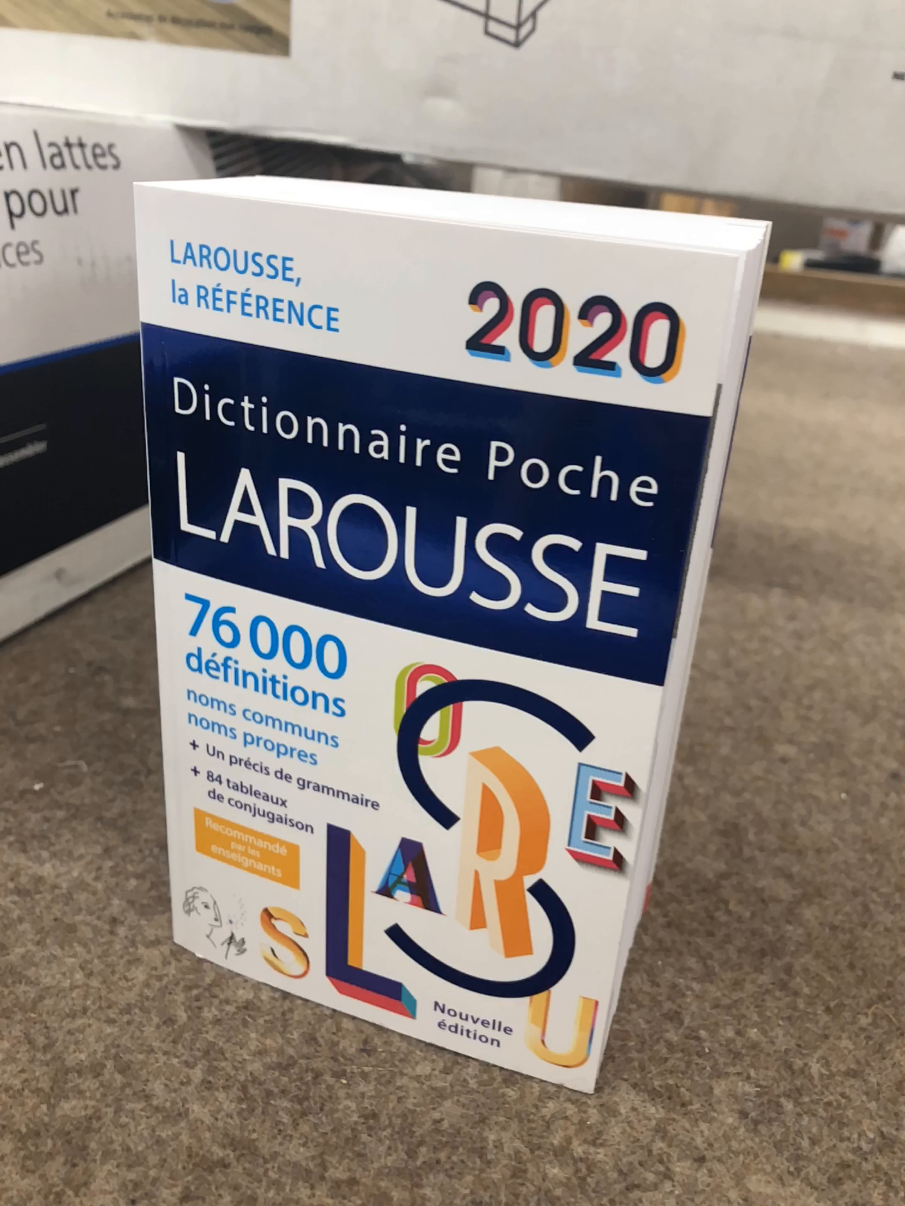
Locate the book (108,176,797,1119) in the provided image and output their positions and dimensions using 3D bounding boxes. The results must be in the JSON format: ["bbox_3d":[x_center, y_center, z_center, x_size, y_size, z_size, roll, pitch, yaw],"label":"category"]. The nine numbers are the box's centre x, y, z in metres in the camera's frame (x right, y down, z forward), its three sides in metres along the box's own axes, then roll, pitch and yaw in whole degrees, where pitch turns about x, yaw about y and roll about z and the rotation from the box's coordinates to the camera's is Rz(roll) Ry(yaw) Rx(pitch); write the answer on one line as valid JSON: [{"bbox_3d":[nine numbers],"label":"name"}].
[{"bbox_3d":[-0.003,0.006,0.219,0.111,0.173,0.061,12,26,17],"label":"book"}]
